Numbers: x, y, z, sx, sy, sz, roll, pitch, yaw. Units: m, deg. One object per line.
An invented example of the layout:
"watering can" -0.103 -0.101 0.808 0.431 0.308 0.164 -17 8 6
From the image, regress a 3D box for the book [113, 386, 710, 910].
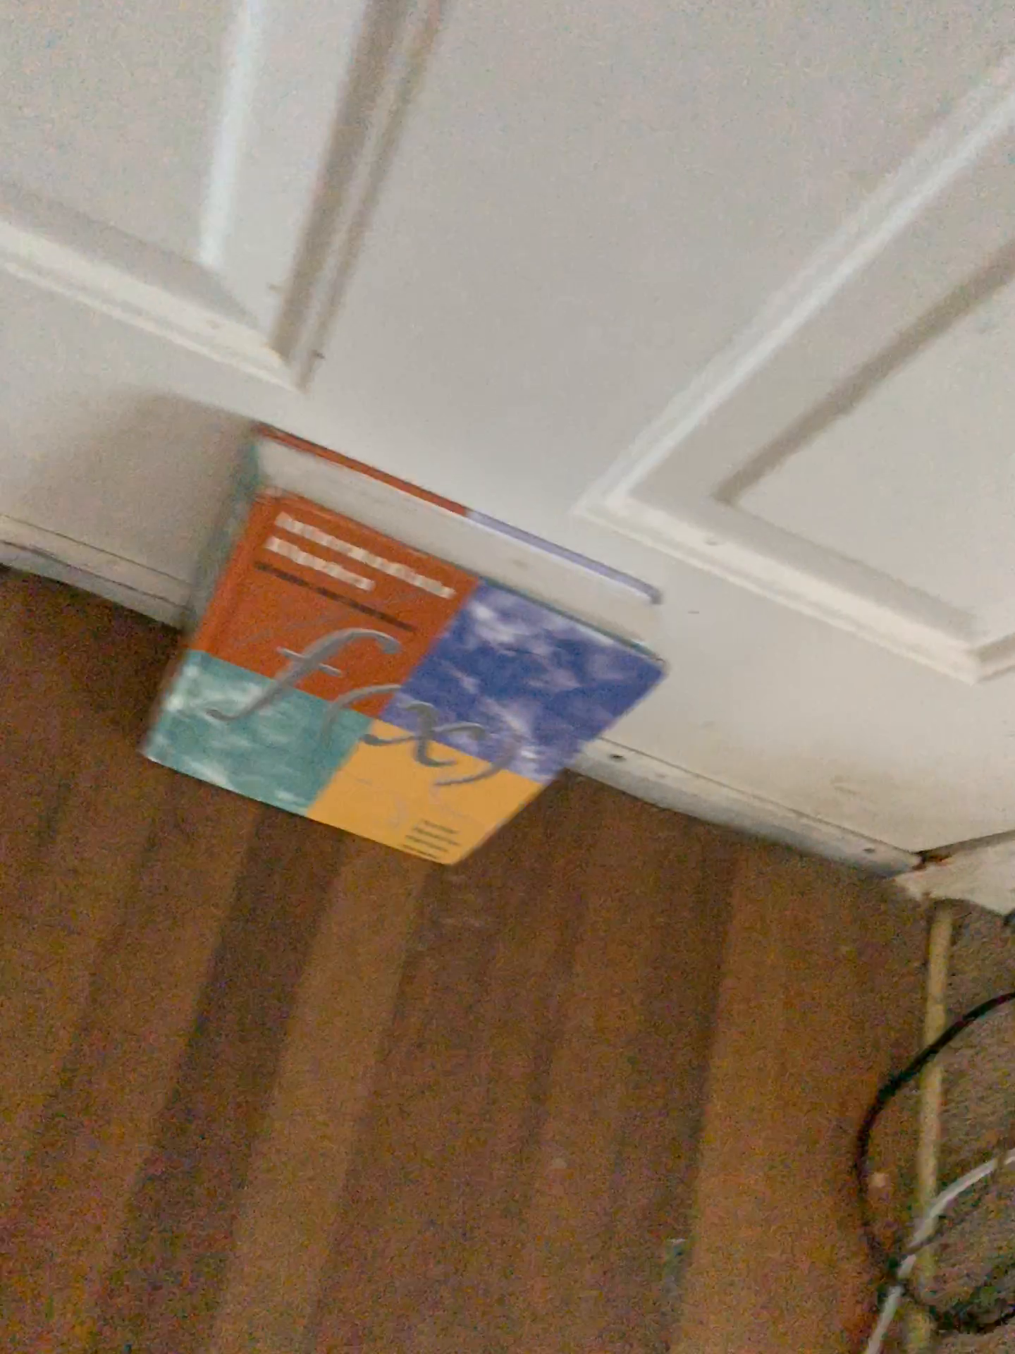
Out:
"book" -0.063 0.010 0.541 0.230 0.250 0.060 23 50 -13
